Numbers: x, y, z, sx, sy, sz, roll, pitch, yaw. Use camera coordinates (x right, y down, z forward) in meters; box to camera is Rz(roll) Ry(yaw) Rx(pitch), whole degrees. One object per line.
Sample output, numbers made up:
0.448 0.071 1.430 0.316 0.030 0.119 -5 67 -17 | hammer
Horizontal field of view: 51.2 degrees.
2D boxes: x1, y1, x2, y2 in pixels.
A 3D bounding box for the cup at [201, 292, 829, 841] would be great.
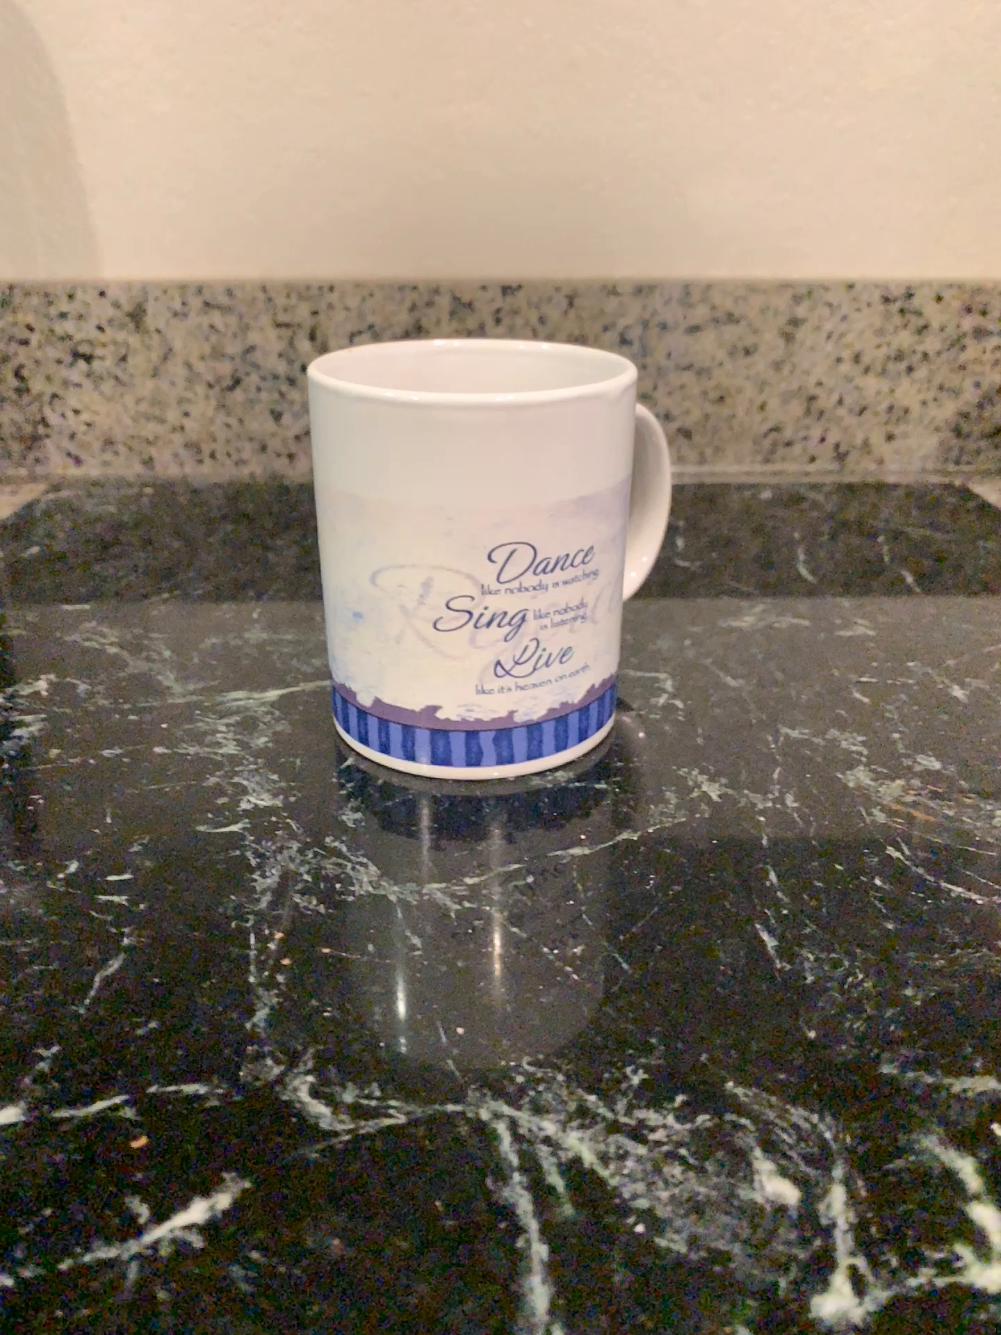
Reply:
0.007 -0.040 0.279 0.130 0.099 0.090 -22 33 -39 | cup
